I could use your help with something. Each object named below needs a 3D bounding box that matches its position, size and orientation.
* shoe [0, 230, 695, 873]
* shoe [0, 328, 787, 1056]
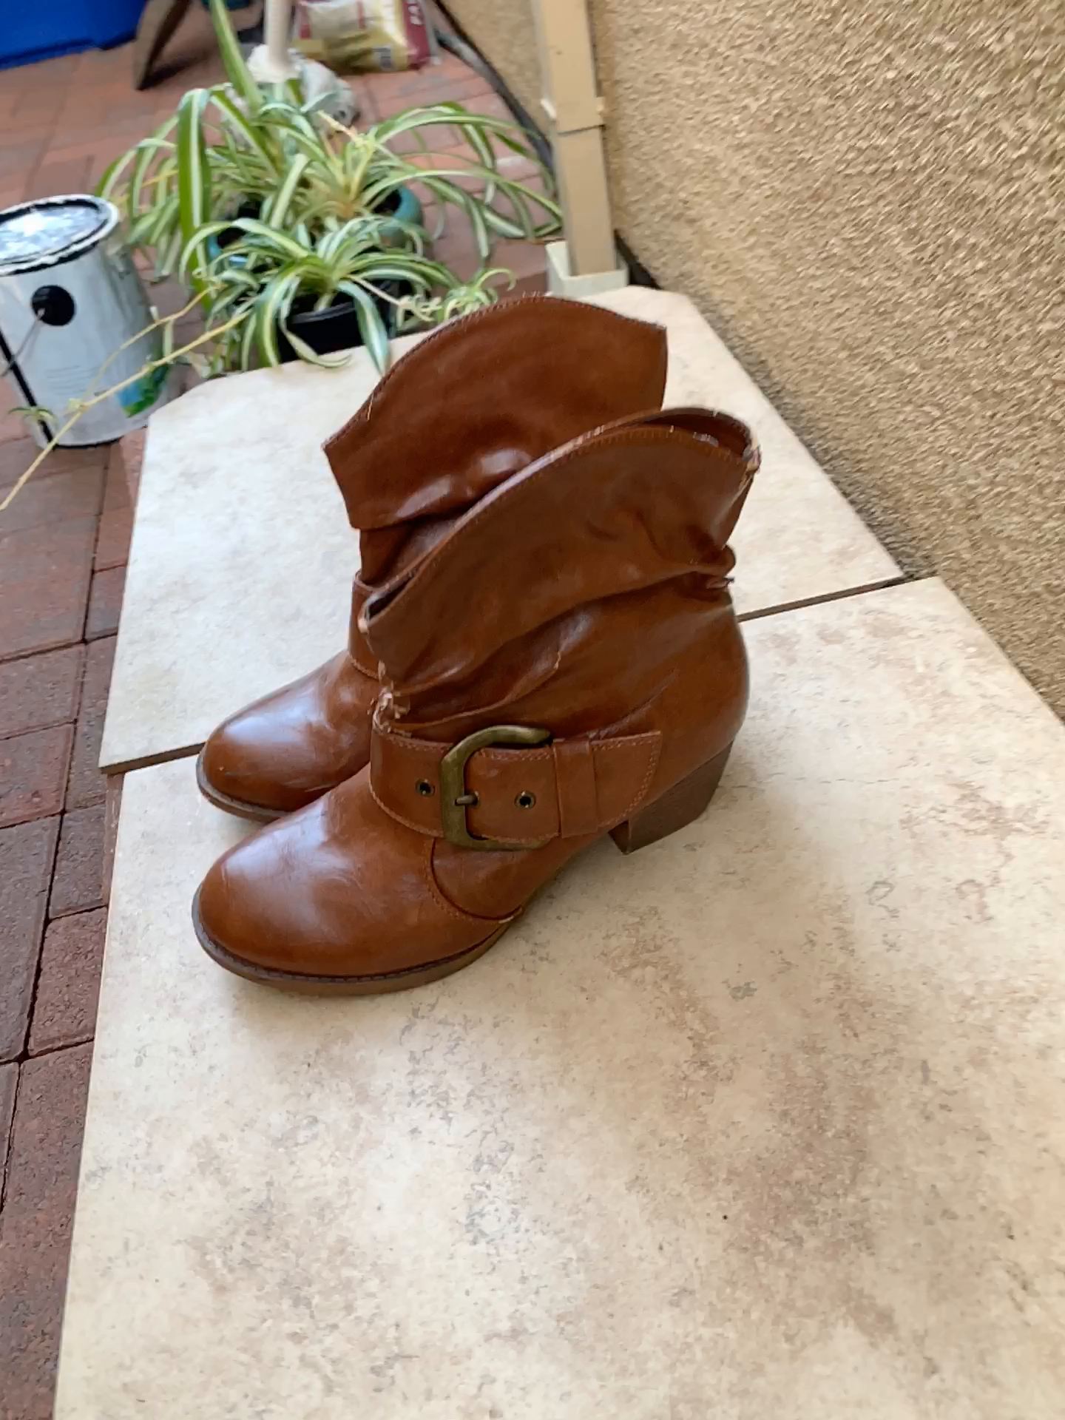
[{"bbox_3d":[-0.066,-0.065,0.486,0.244,0.198,0.096,-19,43,-7],"label":"shoe"},{"bbox_3d":[-0.040,0.000,0.412,0.244,0.198,0.101,-15,43,-4],"label":"shoe"}]
